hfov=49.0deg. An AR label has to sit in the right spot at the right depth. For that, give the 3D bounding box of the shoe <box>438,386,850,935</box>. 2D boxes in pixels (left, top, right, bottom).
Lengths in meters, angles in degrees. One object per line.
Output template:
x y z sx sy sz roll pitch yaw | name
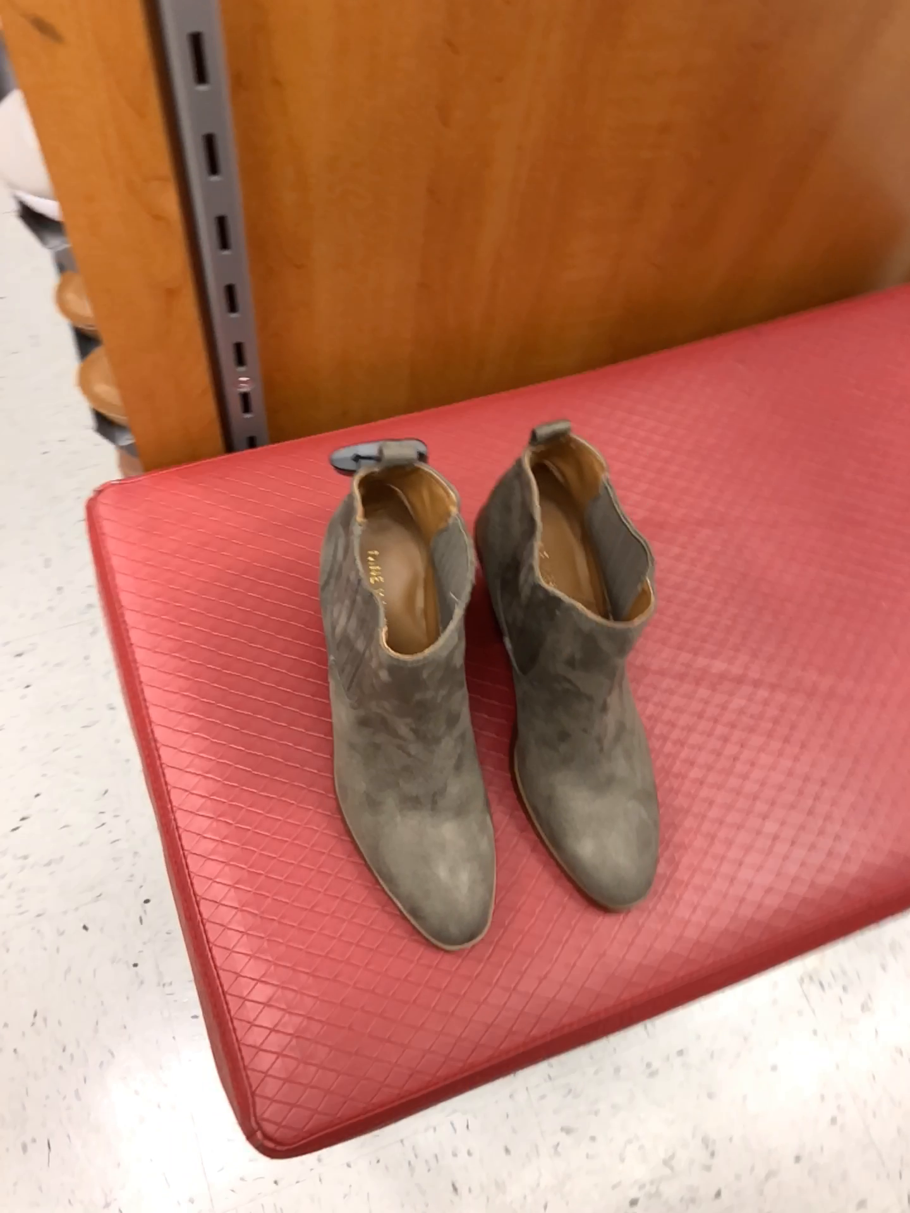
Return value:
0.084 0.033 0.556 0.107 0.150 0.251 -13 68 -12 | shoe

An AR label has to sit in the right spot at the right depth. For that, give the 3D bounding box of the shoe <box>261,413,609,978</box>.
-0.024 0.052 0.541 0.097 0.160 0.251 -13 68 -12 | shoe
